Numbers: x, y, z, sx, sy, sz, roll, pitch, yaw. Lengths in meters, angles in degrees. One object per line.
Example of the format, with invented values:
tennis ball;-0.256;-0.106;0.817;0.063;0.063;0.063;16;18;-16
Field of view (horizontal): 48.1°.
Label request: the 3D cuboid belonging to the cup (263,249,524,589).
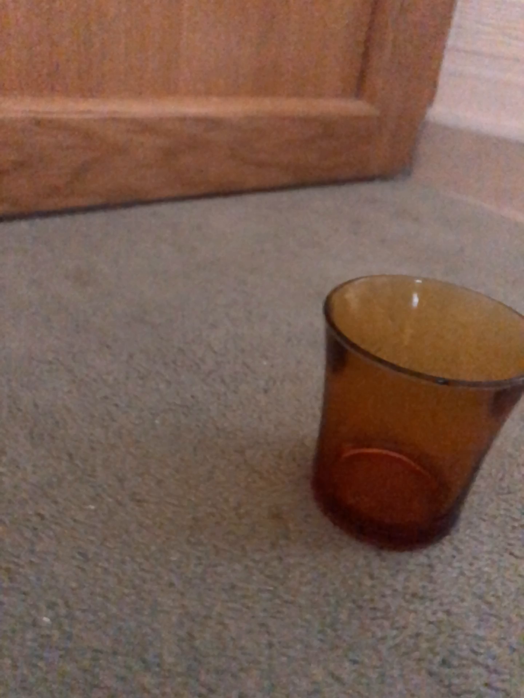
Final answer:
cup;0.054;0.016;0.199;0.070;0.070;0.070;6;29;-3
